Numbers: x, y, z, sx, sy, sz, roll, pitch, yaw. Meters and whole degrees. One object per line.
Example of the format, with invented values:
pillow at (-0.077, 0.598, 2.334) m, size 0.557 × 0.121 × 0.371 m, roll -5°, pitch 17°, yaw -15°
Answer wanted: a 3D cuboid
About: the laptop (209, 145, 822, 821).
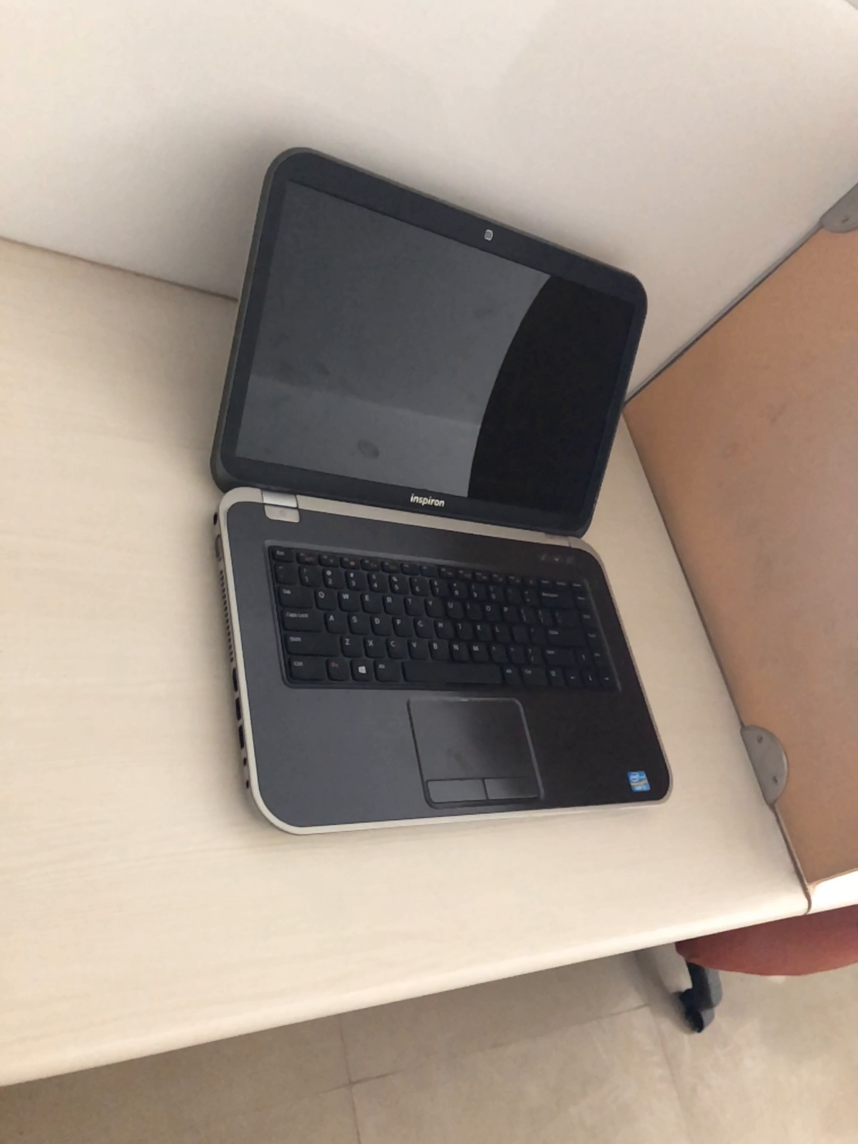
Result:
laptop at (0.049, -0.053, 0.693) m, size 0.340 × 0.152 × 0.409 m, roll 7°, pitch 58°, yaw -34°
